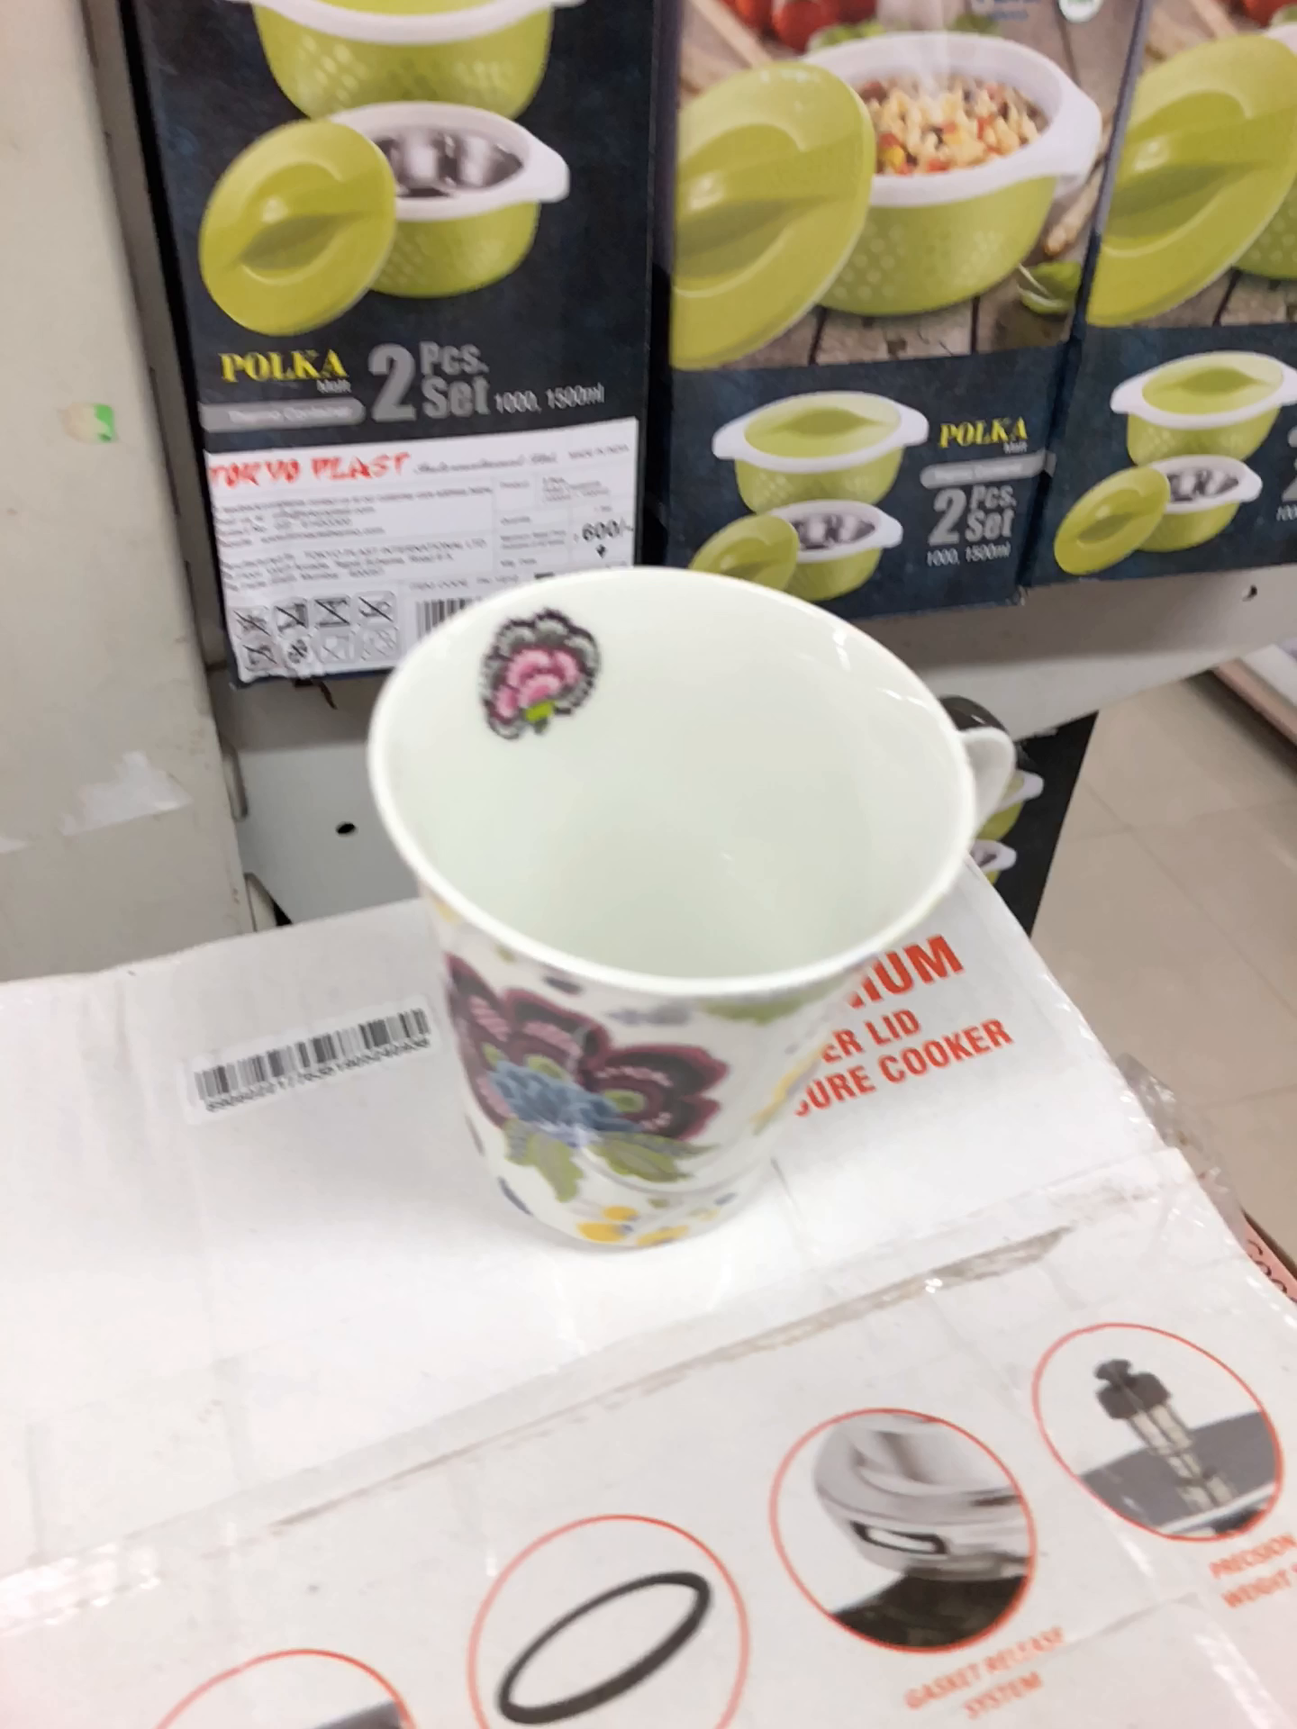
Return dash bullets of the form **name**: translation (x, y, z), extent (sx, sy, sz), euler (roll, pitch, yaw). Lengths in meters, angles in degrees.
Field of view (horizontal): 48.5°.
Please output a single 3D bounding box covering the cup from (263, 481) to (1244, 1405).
- **cup**: translation (0.011, 0.008, 0.241), extent (0.121, 0.089, 0.080), euler (-21, 55, -27)
